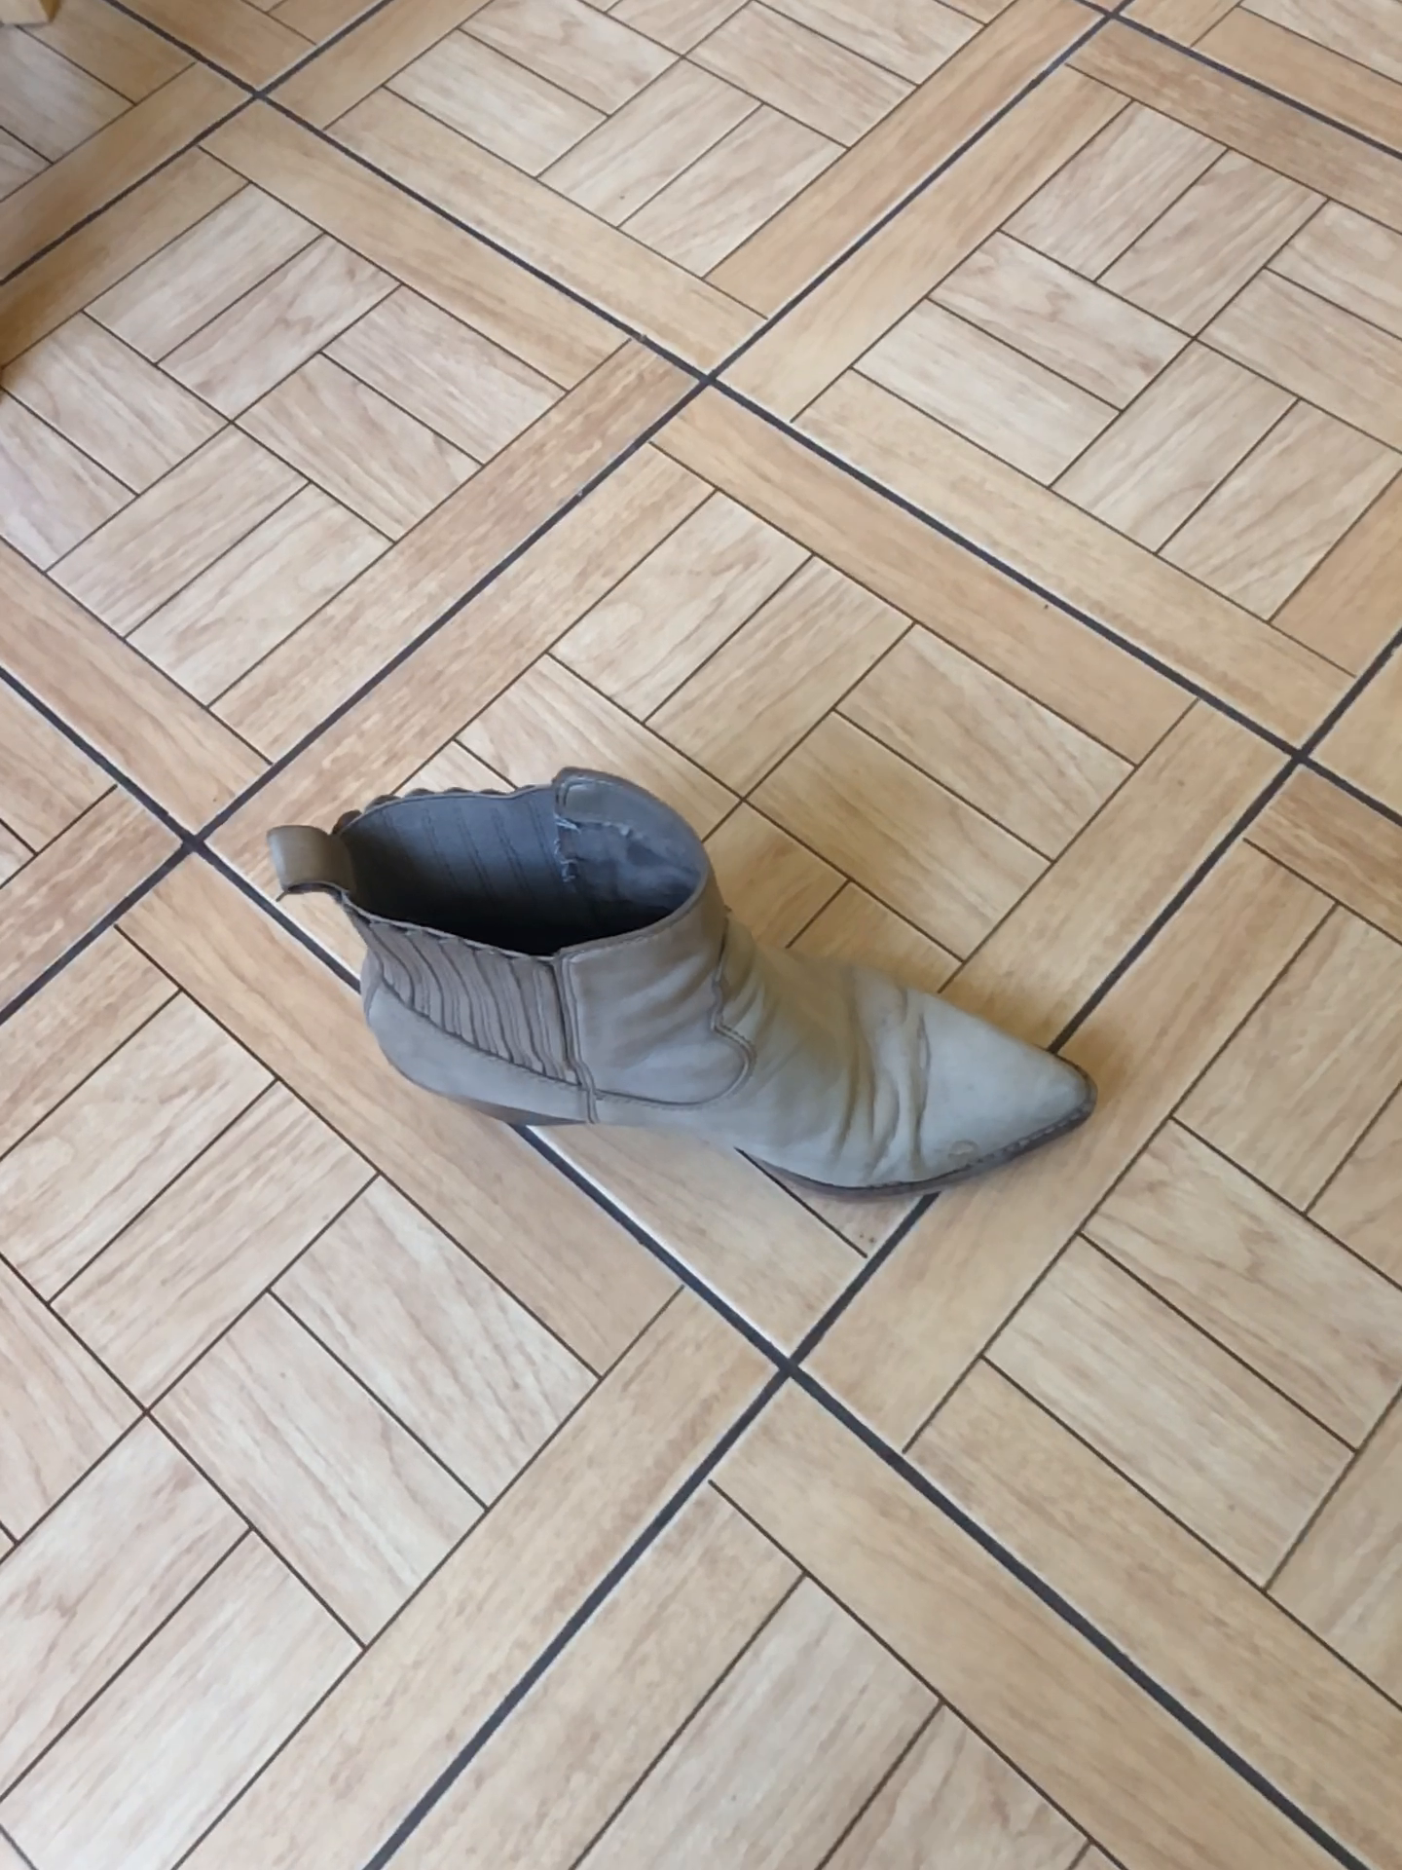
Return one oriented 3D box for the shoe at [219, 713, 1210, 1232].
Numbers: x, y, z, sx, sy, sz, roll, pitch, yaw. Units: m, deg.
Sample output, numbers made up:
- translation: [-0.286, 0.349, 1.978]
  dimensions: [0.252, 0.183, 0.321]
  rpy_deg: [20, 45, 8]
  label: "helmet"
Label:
- translation: [0.008, 0.021, 0.506]
  dimensions: [0.260, 0.180, 0.090]
  rpy_deg: [3, 66, 4]
  label: "shoe"
